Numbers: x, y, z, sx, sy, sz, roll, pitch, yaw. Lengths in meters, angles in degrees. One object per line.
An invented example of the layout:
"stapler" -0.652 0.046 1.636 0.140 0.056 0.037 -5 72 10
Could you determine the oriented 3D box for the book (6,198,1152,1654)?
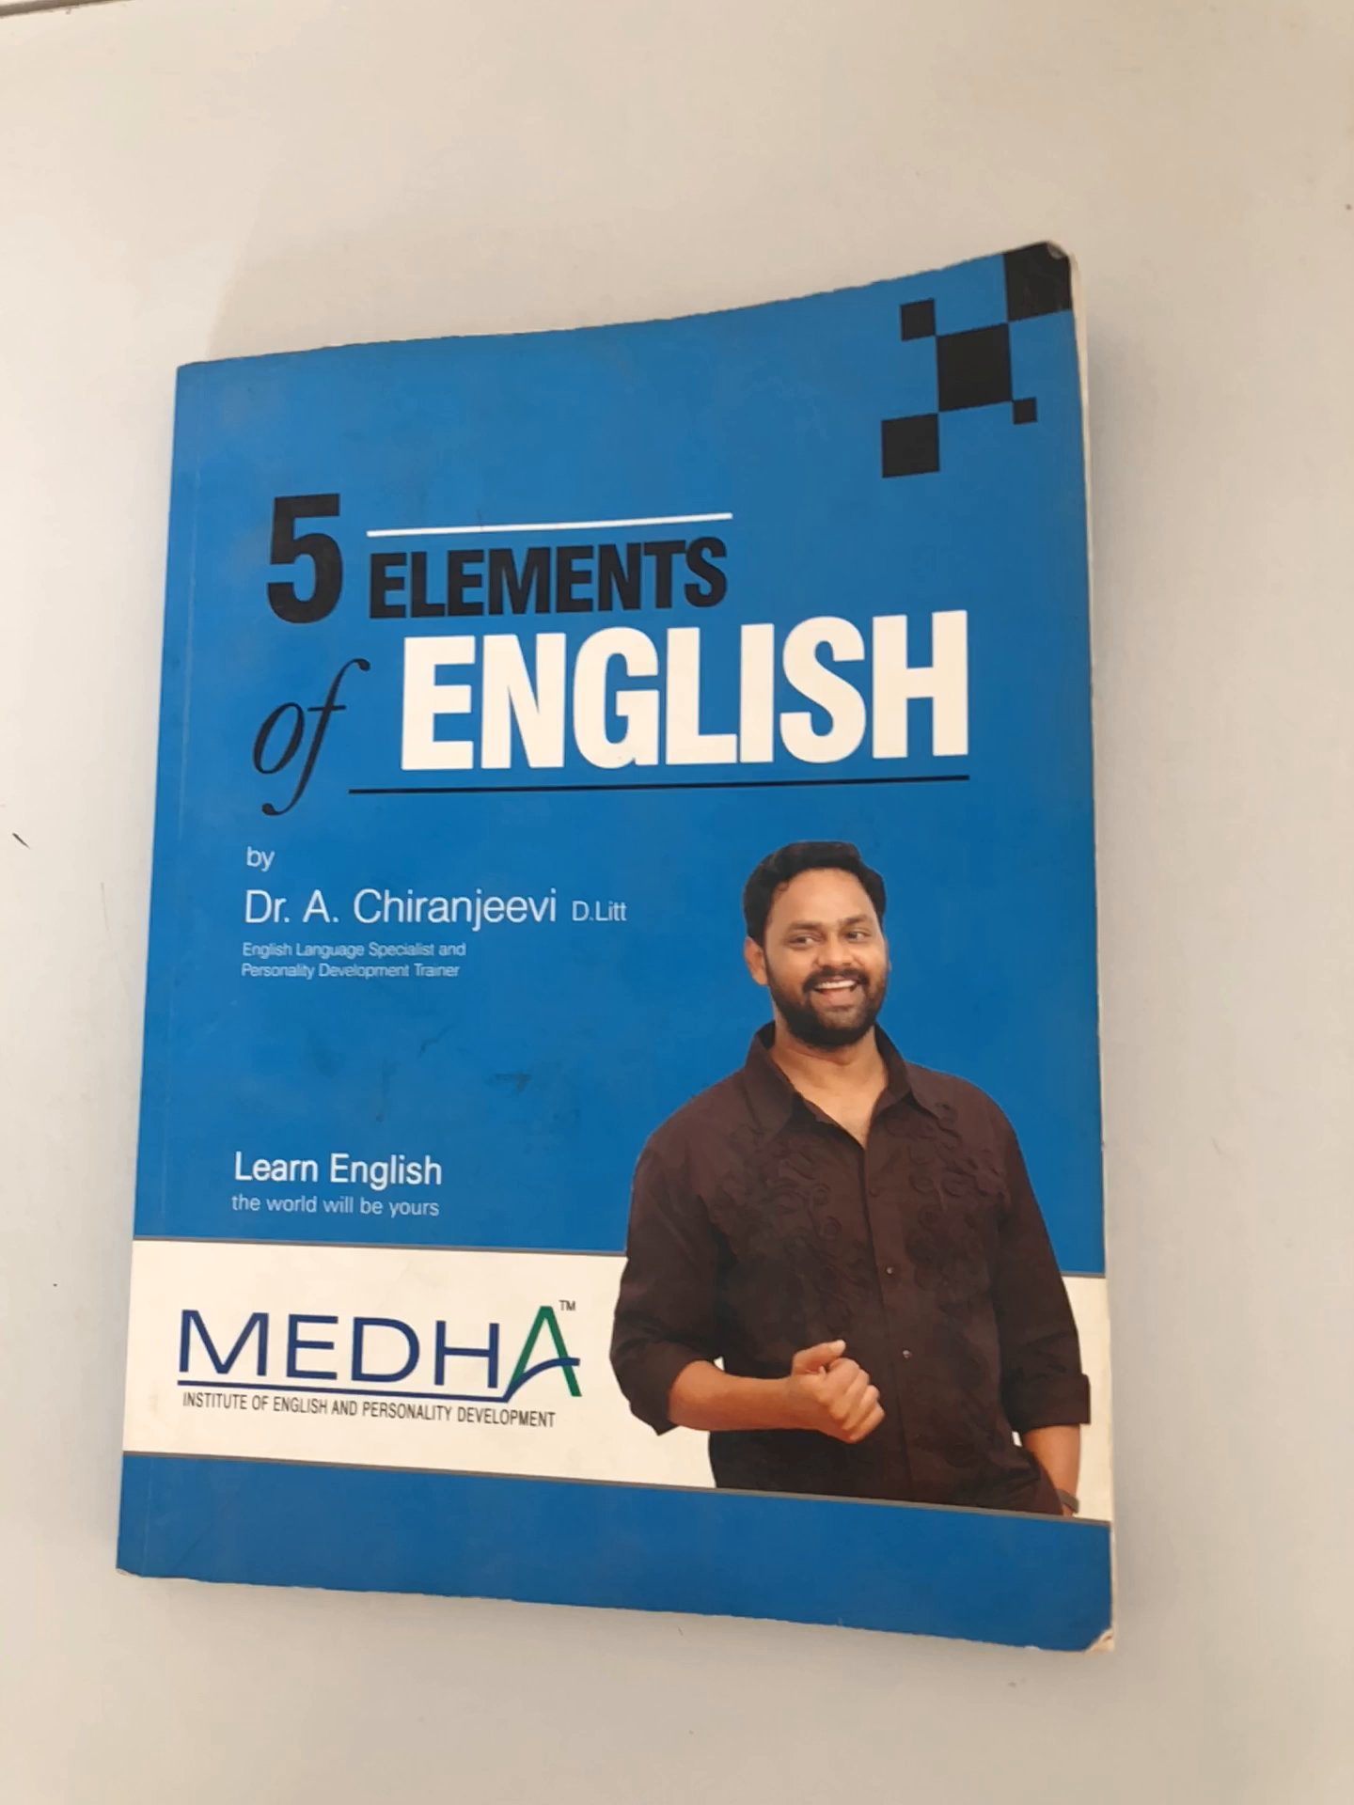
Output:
"book" -0.020 0.001 0.251 0.180 0.020 0.220 -1 83 10
